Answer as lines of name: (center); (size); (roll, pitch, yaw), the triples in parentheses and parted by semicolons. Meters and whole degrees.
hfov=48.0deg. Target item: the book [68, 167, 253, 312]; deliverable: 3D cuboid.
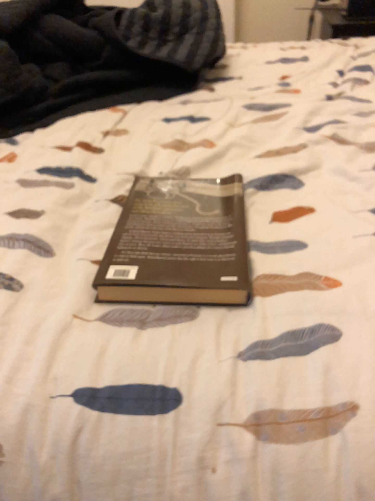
book: (-0.017, -0.028, 0.508); (0.180, 0.030, 0.241); (1, 39, 6)
